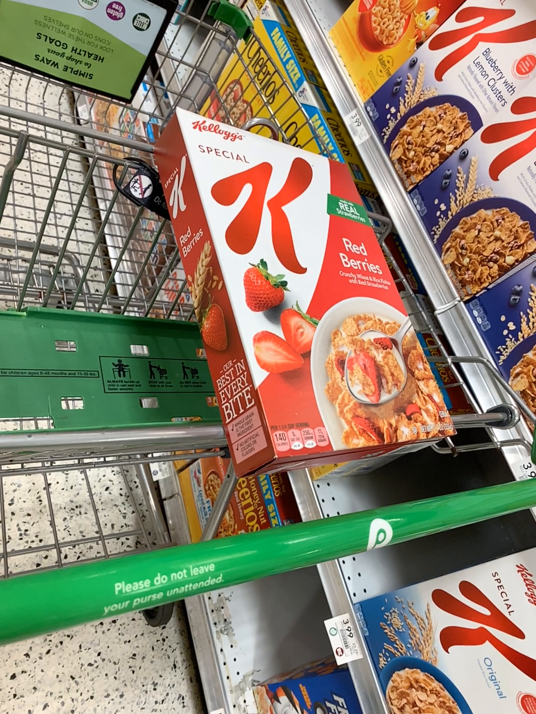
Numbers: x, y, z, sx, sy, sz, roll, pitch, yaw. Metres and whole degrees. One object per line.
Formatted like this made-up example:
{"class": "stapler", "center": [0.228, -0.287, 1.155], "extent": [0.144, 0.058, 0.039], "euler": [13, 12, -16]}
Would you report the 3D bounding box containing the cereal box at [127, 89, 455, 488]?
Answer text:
{"class": "cereal box", "center": [0.016, -0.059, 0.450], "extent": [0.201, 0.059, 0.291], "euler": [1, 63, -39]}
